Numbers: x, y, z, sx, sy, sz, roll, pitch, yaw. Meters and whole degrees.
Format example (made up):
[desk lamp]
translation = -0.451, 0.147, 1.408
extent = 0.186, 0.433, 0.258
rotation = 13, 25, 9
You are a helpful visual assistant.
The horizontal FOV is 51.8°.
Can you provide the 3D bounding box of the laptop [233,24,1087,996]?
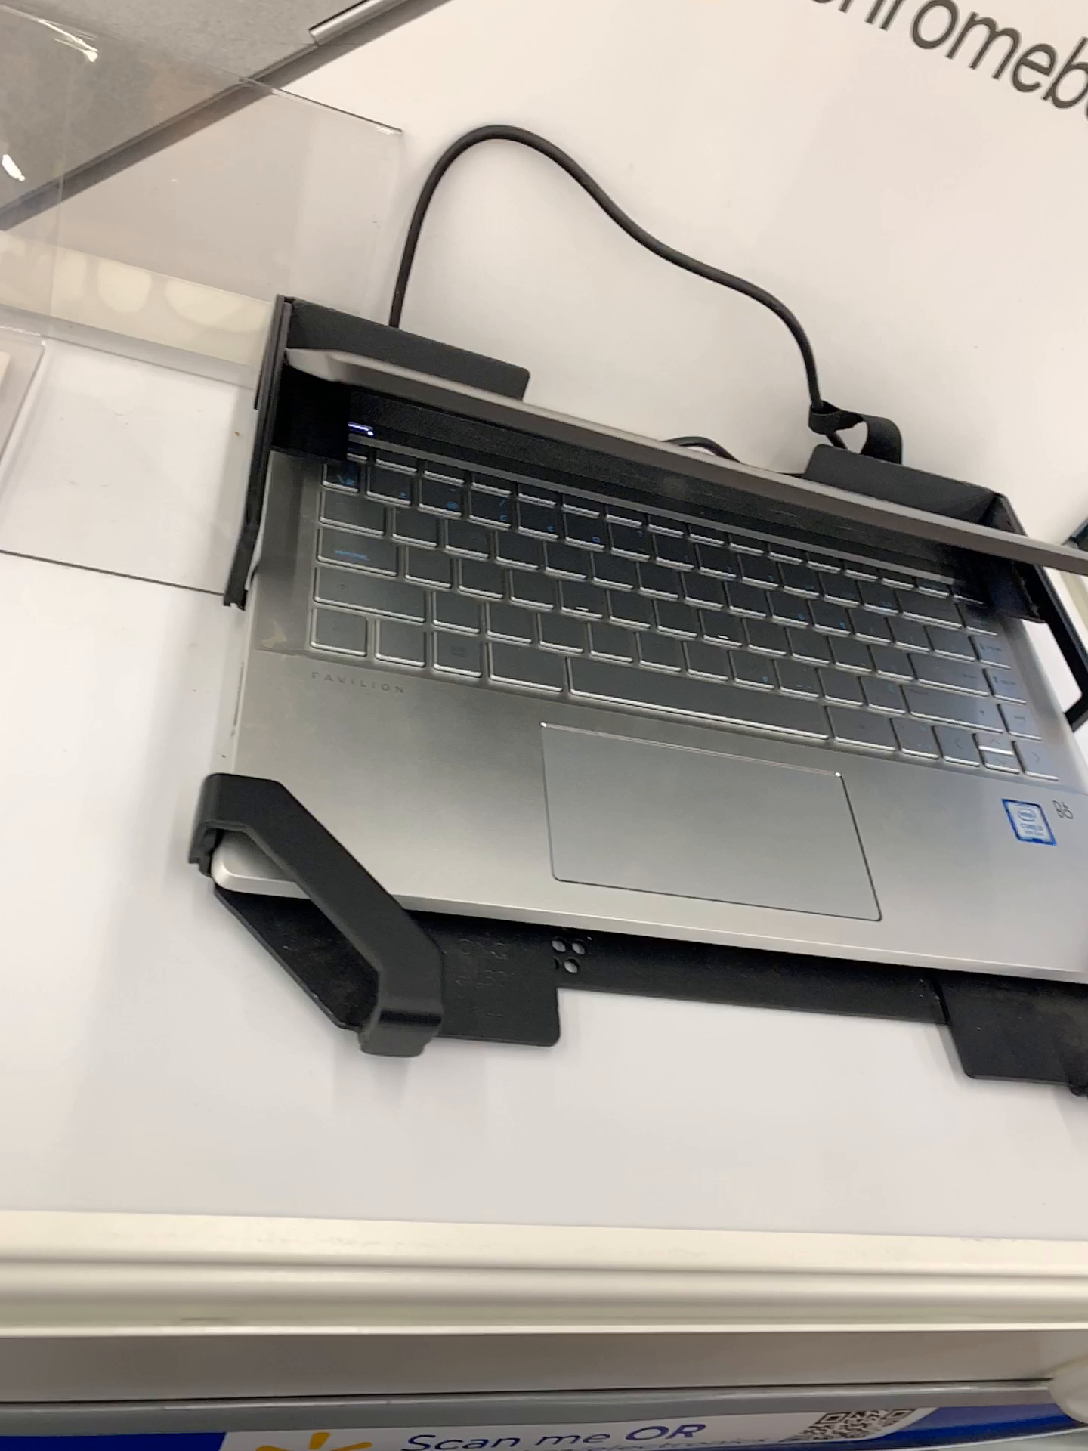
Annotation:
[laptop]
translation = 0.072, -0.054, 0.322
extent = 0.283, 0.111, 0.194
rotation = 10, 50, -16
